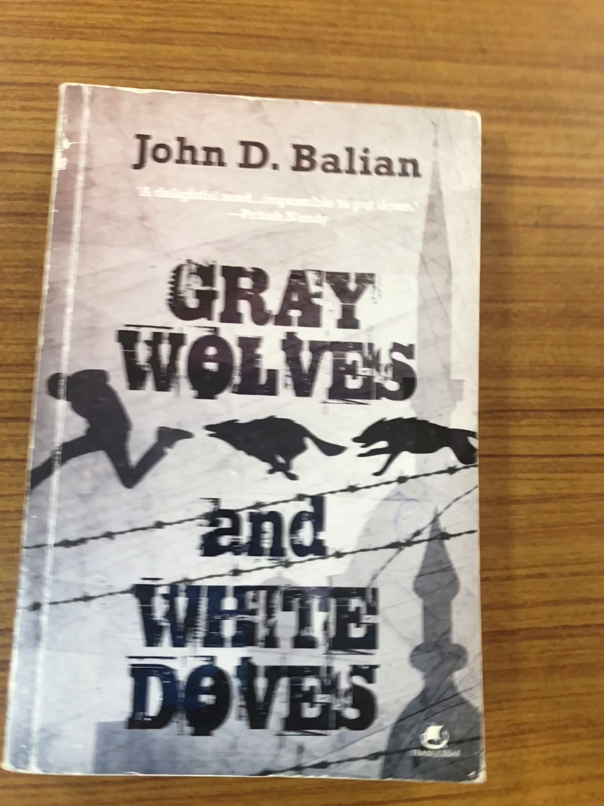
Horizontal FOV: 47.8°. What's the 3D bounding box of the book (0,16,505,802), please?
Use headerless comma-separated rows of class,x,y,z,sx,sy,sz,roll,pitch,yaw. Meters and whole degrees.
book,-0.010,-0.003,0.200,0.130,0.030,0.210,3,82,-1
